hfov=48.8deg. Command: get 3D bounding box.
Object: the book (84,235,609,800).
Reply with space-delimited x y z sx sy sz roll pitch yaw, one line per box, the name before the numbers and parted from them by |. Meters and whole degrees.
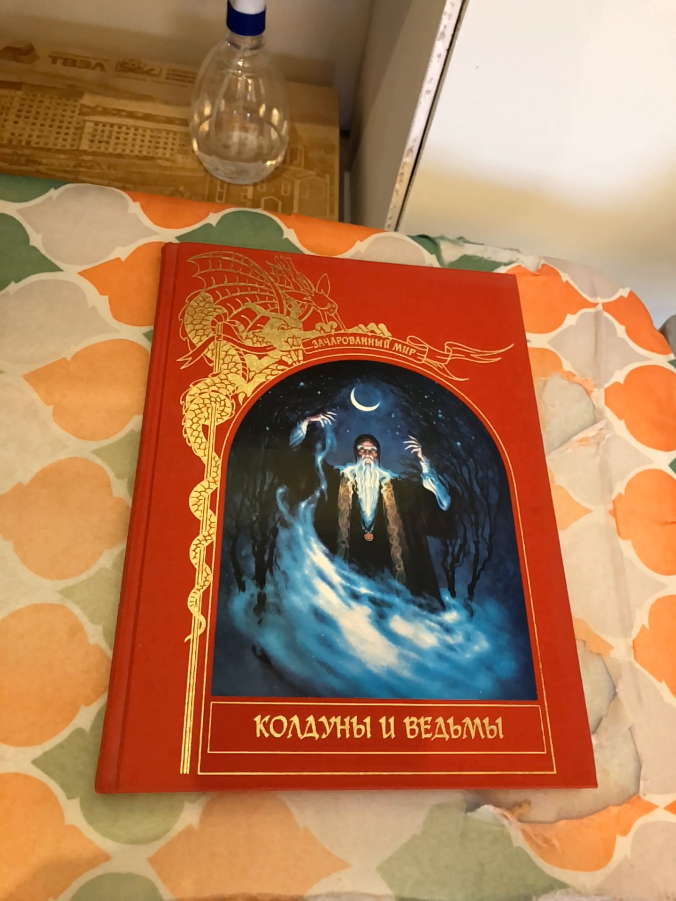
book | 0.005 0.015 0.379 0.215 0.020 0.291 3 61 -8
